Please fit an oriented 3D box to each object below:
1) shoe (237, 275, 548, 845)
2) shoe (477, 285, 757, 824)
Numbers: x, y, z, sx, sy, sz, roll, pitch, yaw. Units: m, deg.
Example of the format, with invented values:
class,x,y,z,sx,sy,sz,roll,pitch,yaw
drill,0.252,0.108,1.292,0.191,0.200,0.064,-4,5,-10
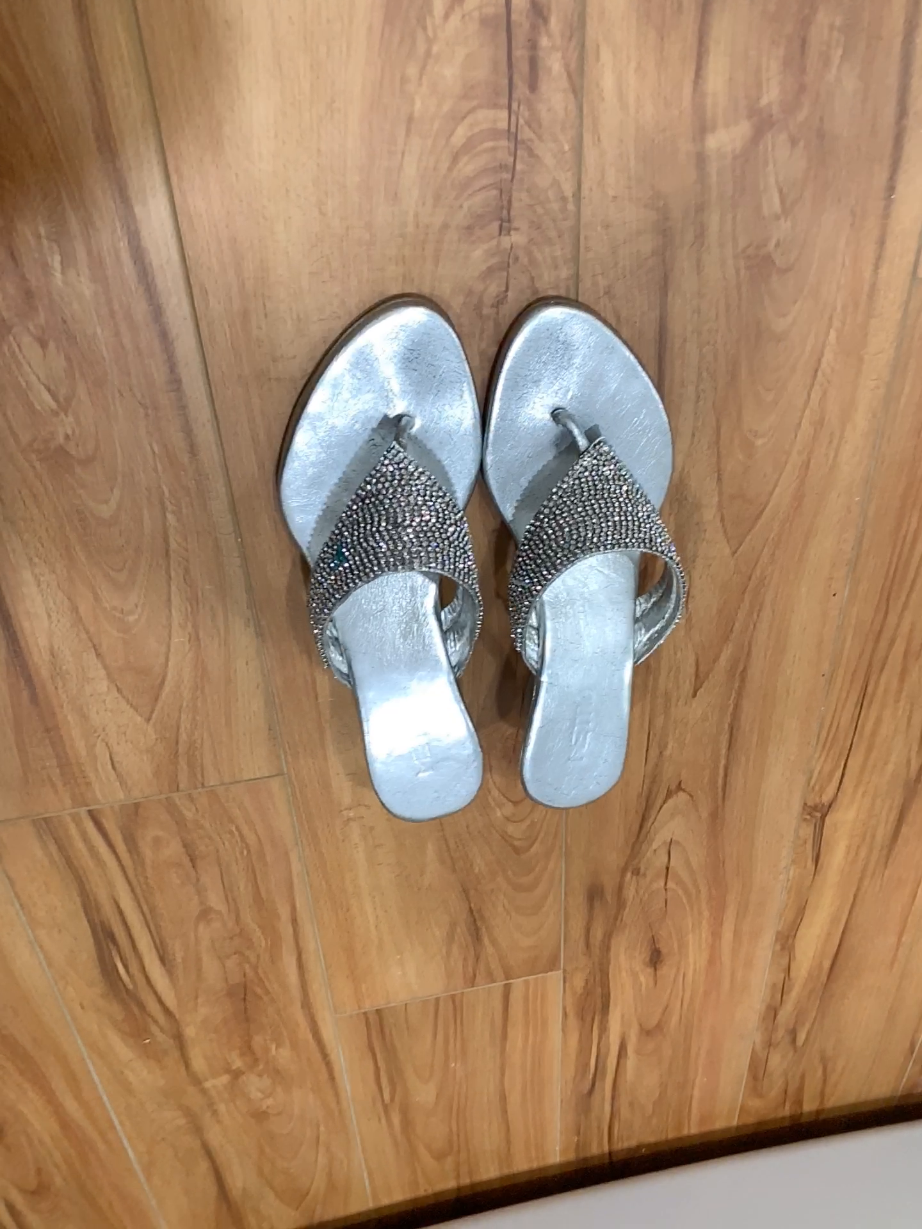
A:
class,x,y,z,sx,sy,sz,roll,pitch,yaw
shoe,-0.023,-0.015,0.410,0.095,0.073,0.228,-11,124,-6
shoe,0.057,-0.020,0.424,0.085,0.073,0.228,-6,123,-9
